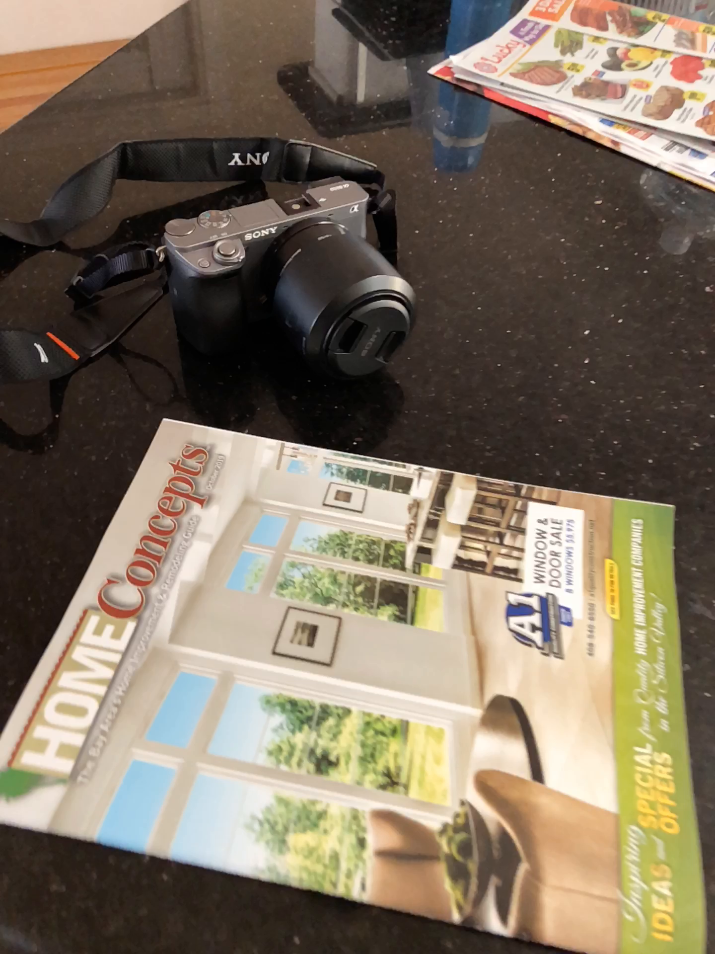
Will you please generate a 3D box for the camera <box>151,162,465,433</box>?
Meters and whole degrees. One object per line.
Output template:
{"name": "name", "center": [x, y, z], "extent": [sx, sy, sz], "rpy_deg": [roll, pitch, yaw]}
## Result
{"name": "camera", "center": [-0.028, -0.100, 0.417], "extent": [0.120, 0.060, 0.110], "rpy_deg": [-23, 55, -21]}
